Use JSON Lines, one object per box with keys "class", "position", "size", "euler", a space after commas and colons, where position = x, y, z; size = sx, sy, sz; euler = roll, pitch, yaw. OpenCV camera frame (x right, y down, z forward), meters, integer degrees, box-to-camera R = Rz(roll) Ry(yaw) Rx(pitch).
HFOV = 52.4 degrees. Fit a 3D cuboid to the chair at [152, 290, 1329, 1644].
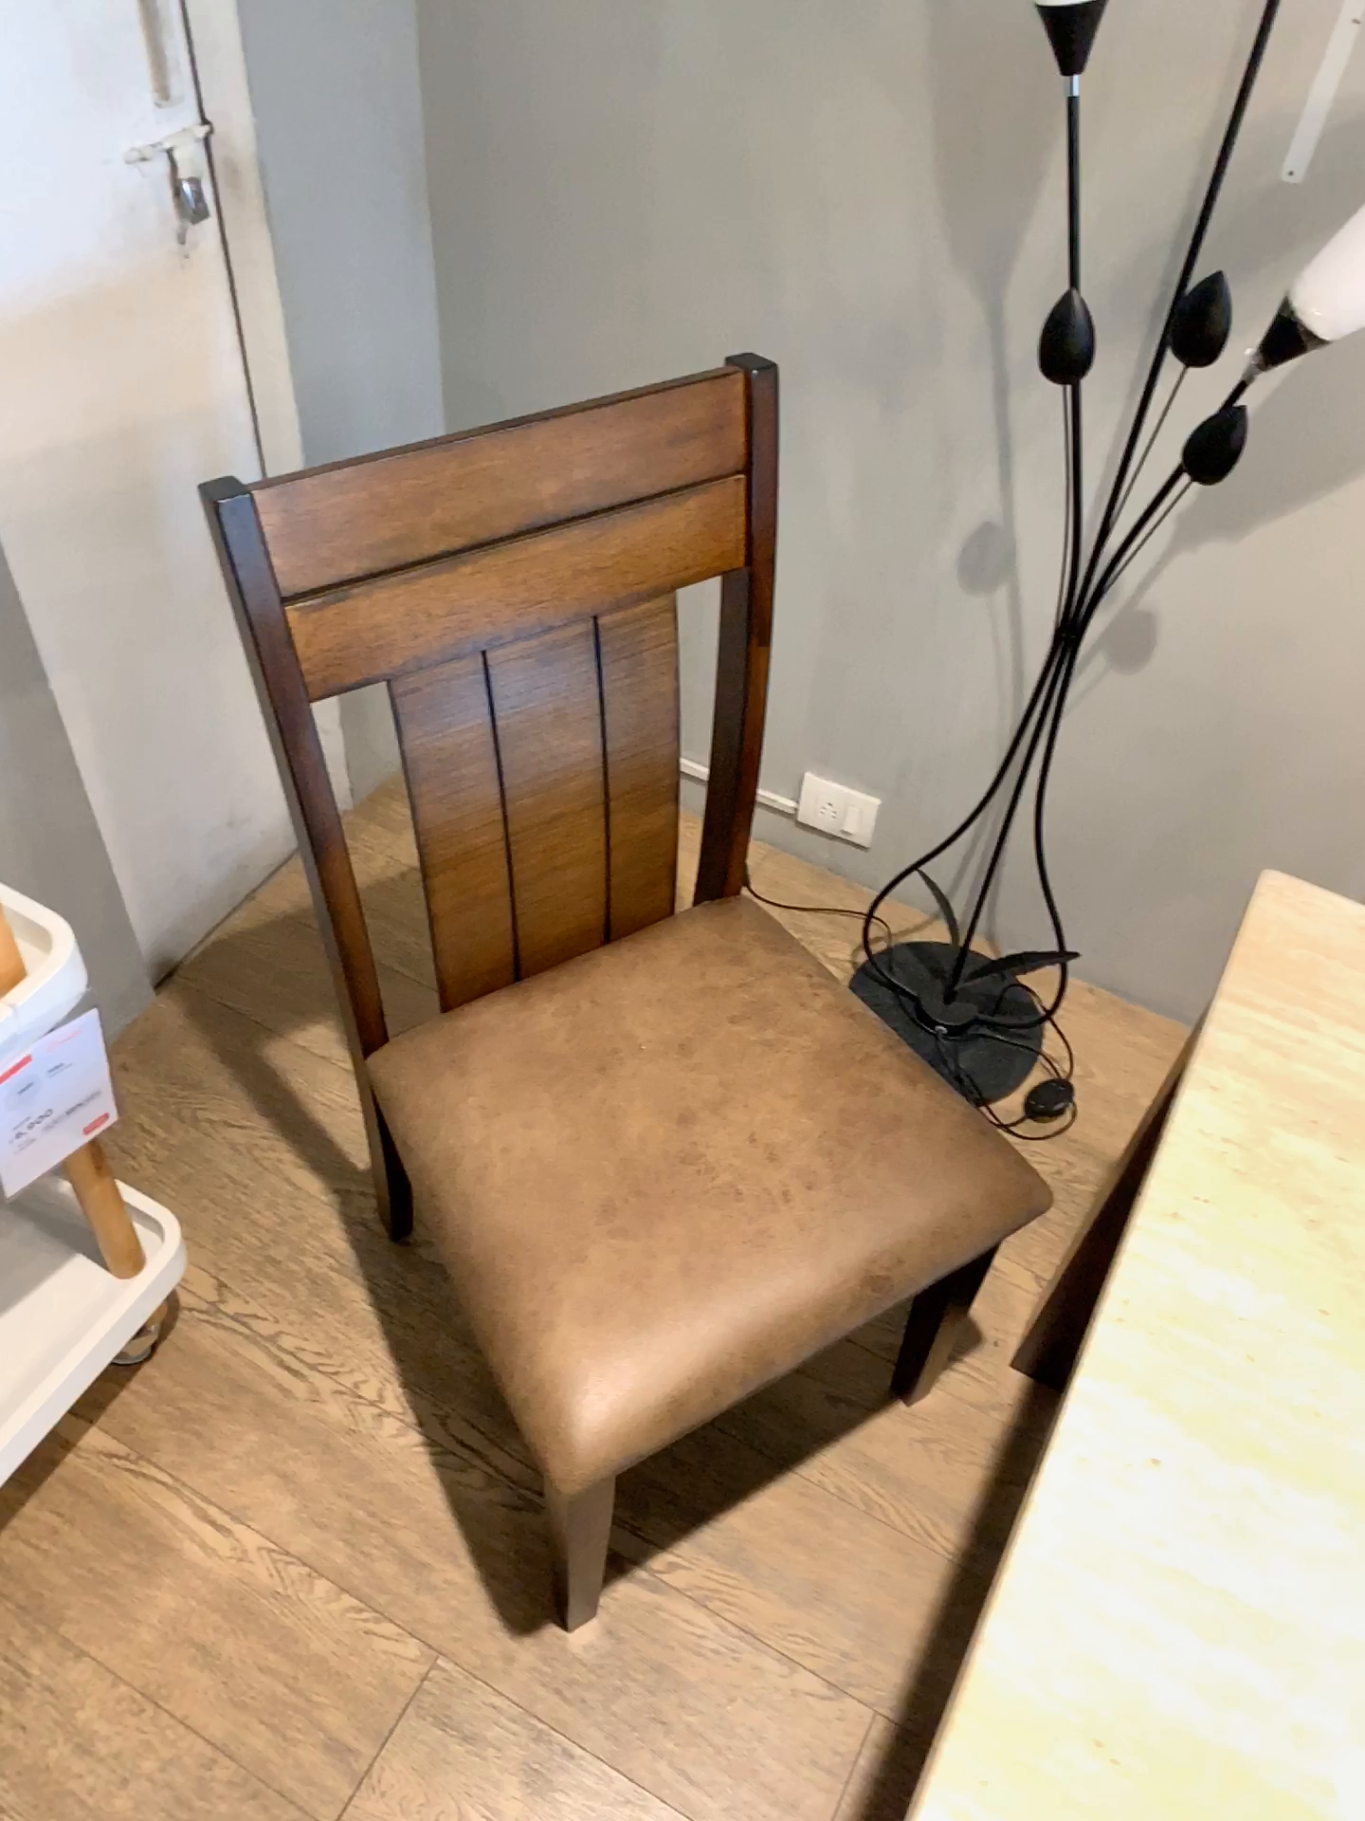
{"class": "chair", "position": [-0.016, 0.108, 1.230], "size": [0.510, 0.997, 0.551], "euler": [-24, 54, -24]}
